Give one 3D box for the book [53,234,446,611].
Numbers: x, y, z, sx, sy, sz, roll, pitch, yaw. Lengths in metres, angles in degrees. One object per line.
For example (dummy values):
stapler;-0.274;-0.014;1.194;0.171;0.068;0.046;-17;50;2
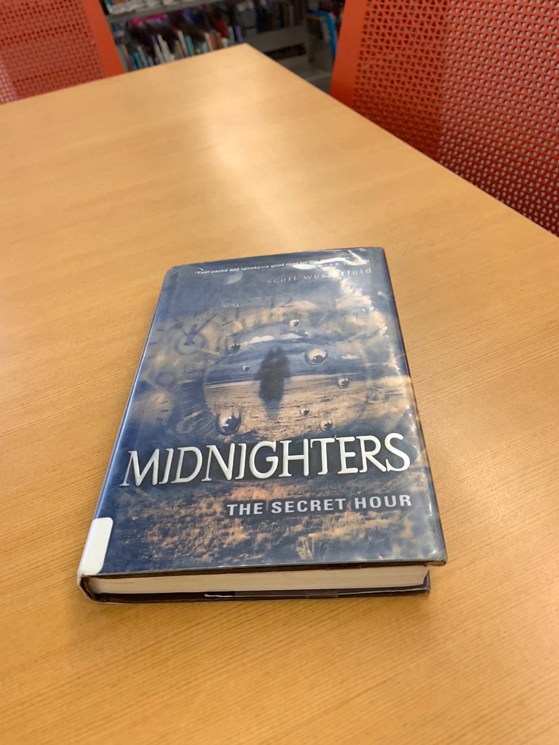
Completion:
book;-0.009;0.008;0.309;0.151;0.036;0.221;-4;45;6
